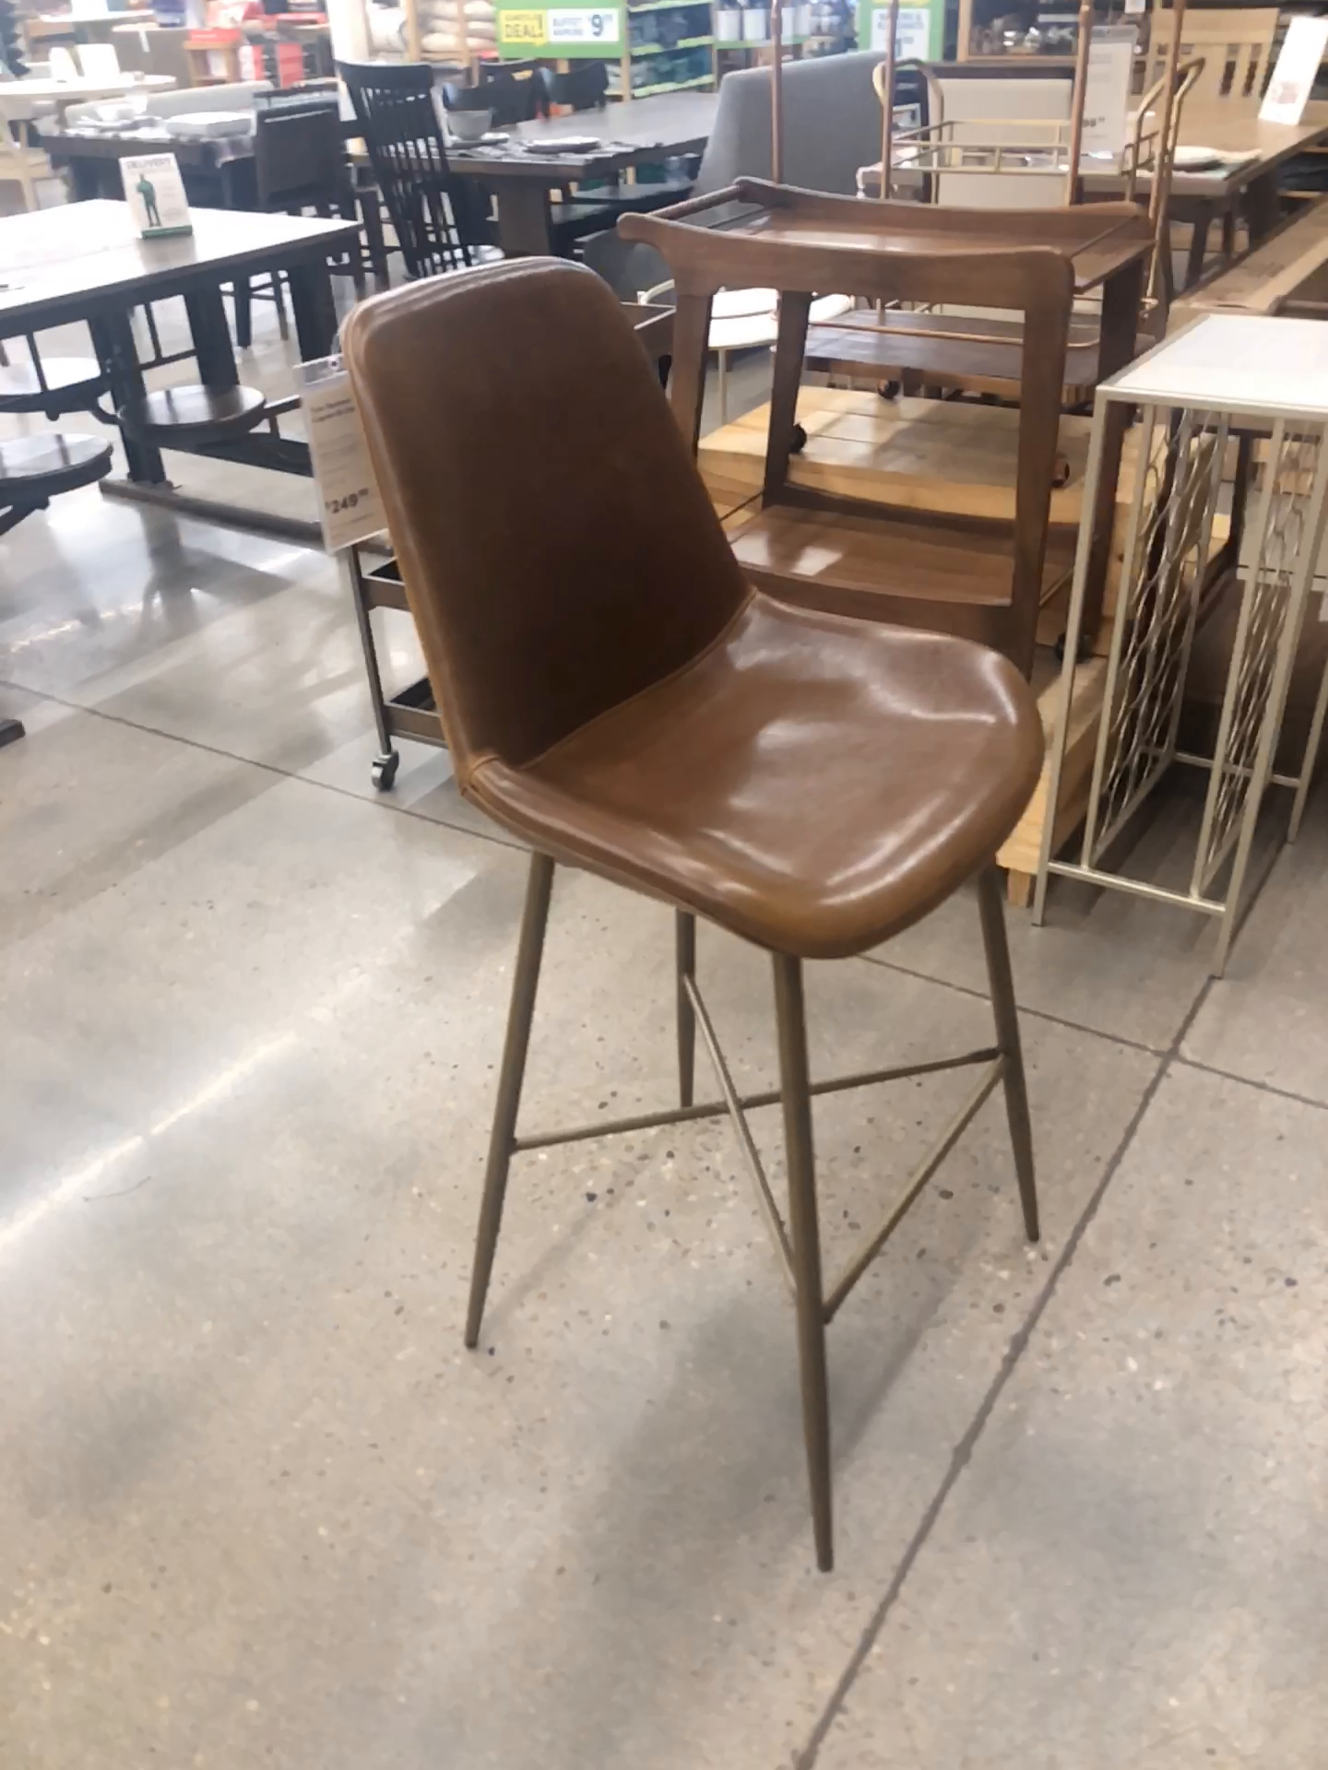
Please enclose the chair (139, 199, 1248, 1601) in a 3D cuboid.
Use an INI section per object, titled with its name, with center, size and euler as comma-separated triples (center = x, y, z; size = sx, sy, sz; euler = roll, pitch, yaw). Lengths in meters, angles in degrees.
[chair]
center = 0.064, -0.017, 1.387
size = 0.611, 1.054, 0.605
euler = 19, 39, 29
